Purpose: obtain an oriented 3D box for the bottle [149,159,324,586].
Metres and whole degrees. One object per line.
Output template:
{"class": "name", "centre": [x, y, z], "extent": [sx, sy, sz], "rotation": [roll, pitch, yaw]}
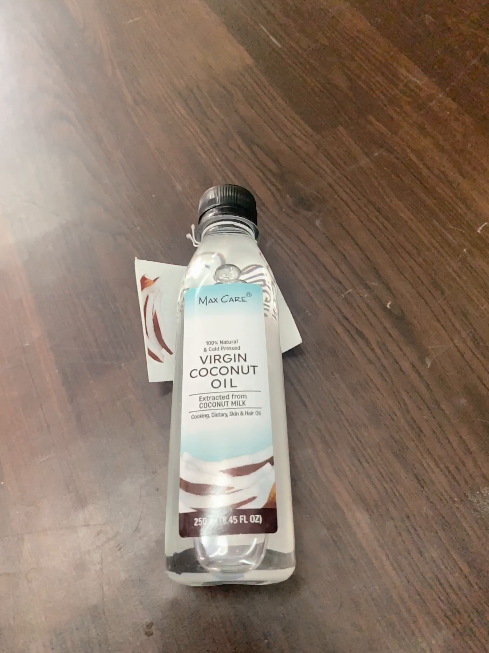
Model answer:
{"class": "bottle", "centre": [-0.003, 0.010, 0.210], "extent": [0.050, 0.050, 0.170], "rotation": [-1, 59, 0]}
